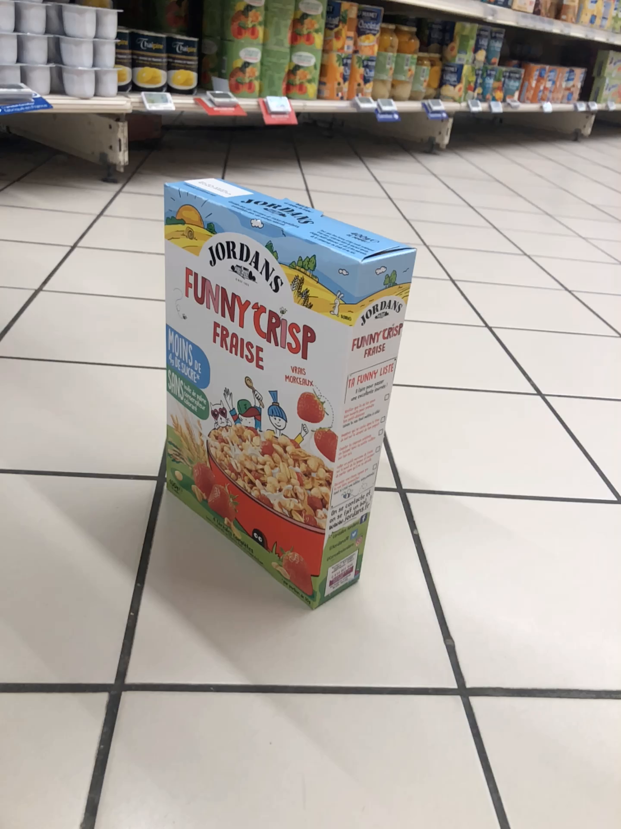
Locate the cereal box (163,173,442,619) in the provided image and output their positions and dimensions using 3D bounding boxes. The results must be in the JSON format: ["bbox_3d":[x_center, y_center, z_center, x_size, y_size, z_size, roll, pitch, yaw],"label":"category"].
[{"bbox_3d":[-0.023,-0.016,0.435,0.050,0.229,0.170,-20,39,-41],"label":"cereal box"}]
